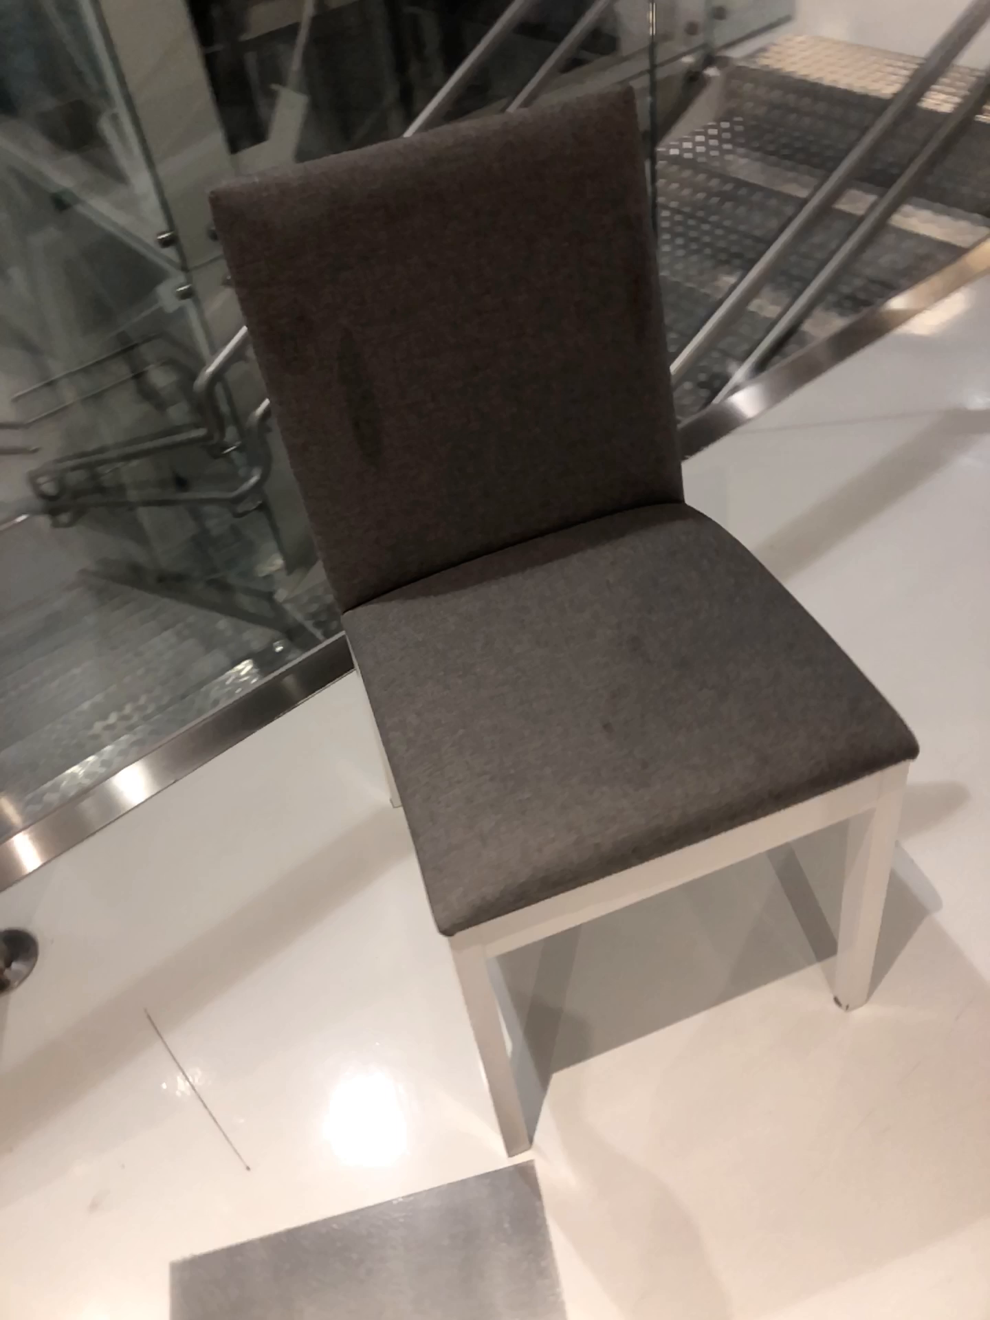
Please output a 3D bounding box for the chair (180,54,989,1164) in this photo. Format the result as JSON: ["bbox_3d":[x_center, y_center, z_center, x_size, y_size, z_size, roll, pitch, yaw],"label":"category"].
[{"bbox_3d":[0.092,-0.017,1.085,0.480,0.844,0.564,-18,46,-9],"label":"chair"}]
